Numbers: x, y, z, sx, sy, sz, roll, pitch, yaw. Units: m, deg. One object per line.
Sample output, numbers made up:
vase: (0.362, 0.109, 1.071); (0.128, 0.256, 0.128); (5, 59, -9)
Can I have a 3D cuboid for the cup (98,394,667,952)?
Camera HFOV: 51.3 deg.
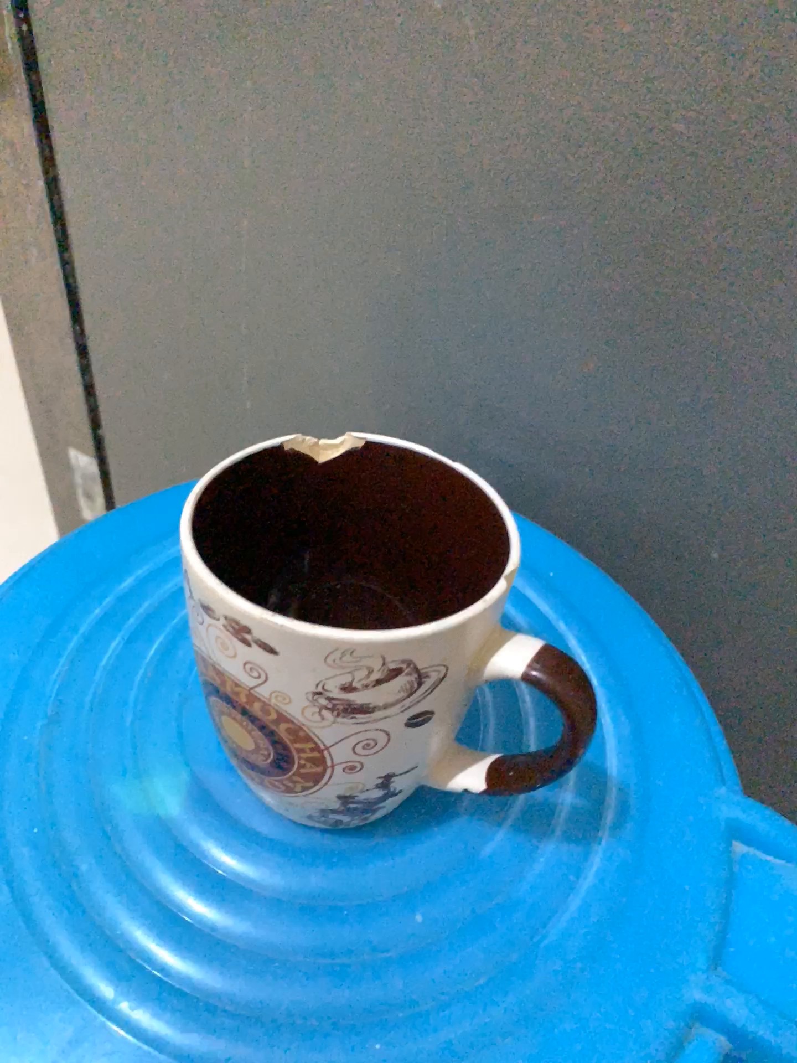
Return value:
cup: (-0.004, 0.032, 0.212); (0.109, 0.082, 0.071); (19, 40, 14)
